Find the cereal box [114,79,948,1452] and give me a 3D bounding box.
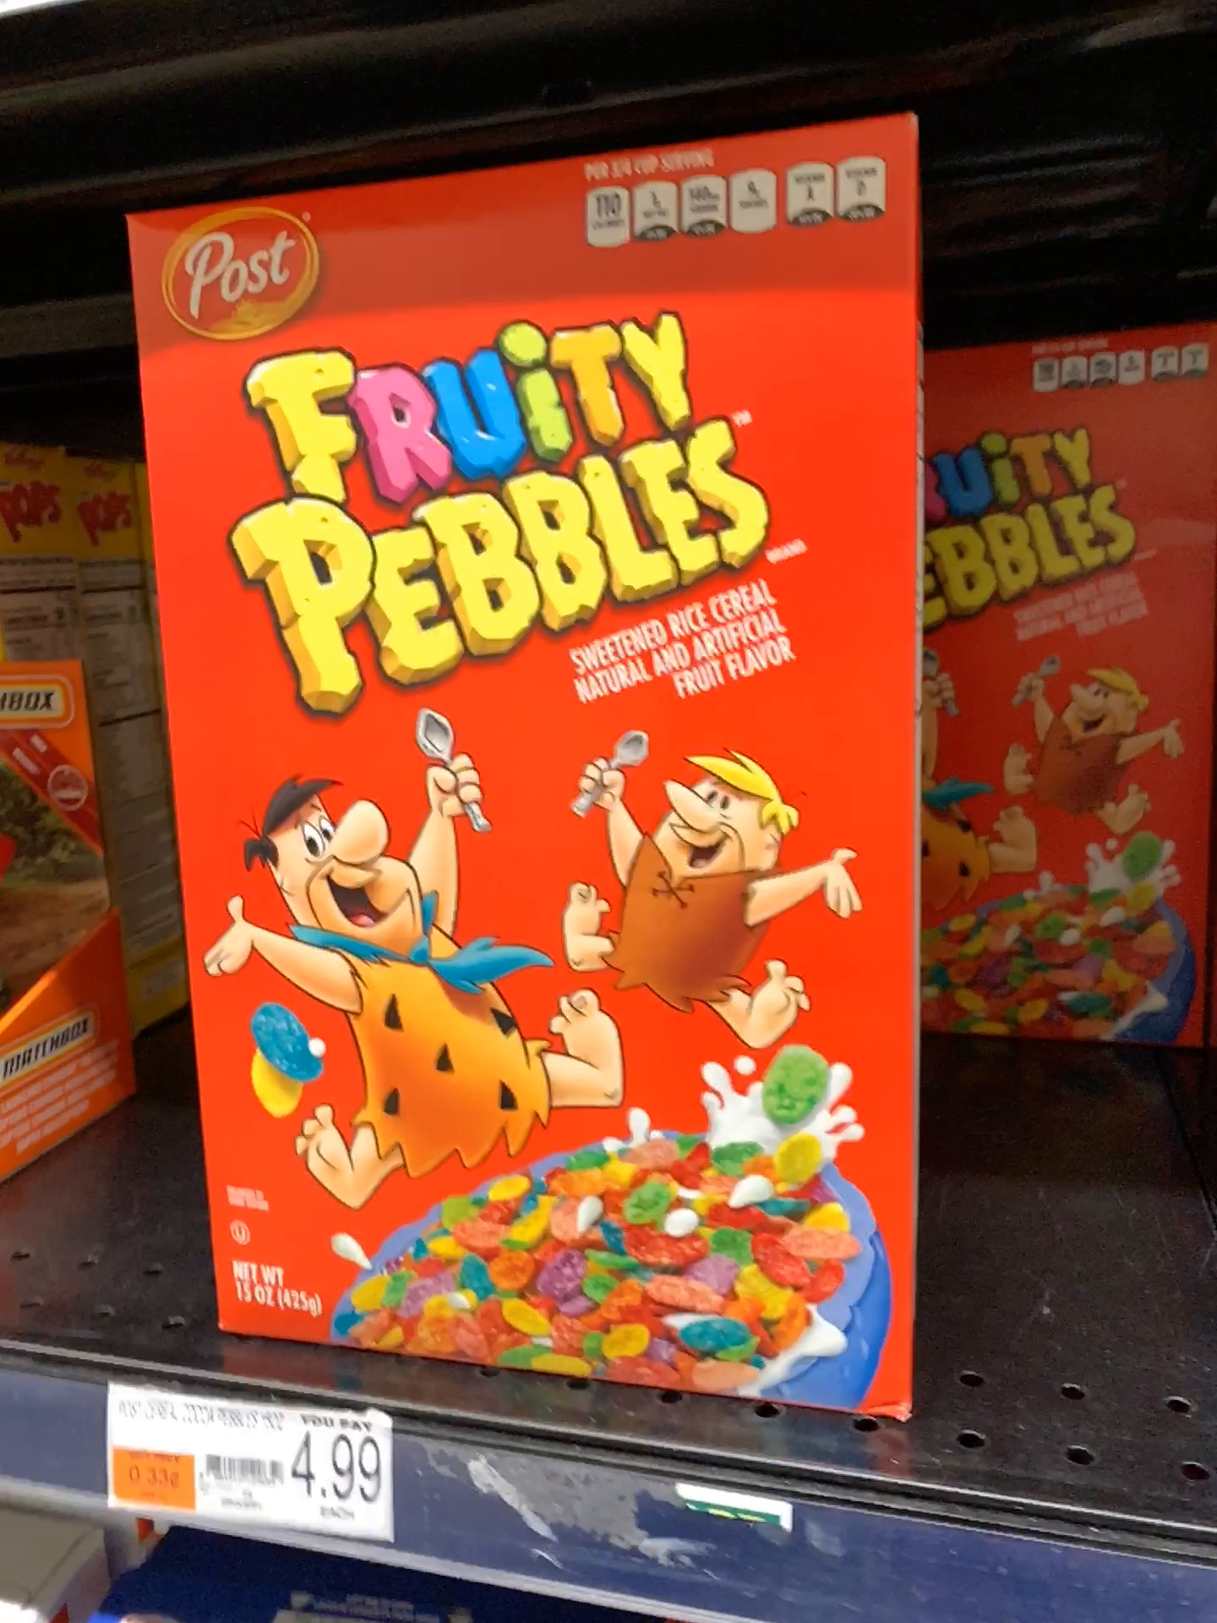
[{"bbox_3d":[-0.013,-0.004,0.338,0.200,0.309,0.060,0,9,17],"label":"cereal box"}]
